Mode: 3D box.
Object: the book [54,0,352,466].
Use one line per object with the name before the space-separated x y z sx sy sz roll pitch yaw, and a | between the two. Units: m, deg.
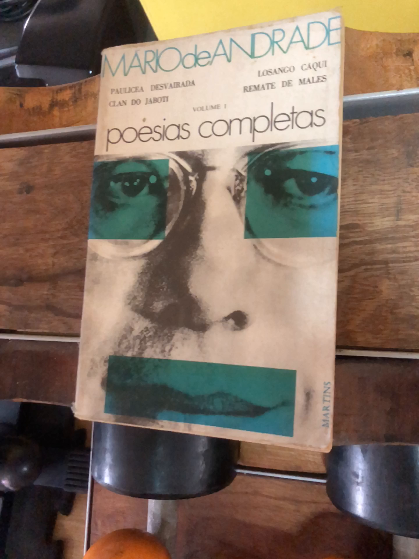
book | -0.005 -0.028 0.233 0.140 0.020 0.209 1 86 18
